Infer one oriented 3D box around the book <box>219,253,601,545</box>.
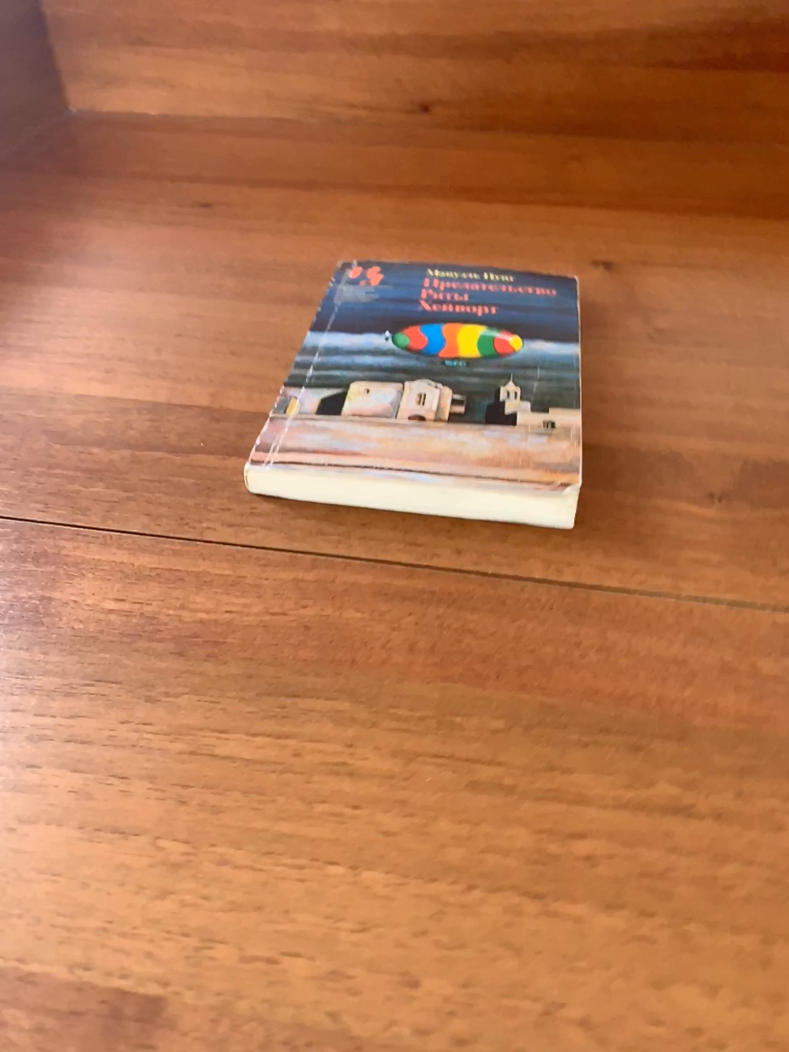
[{"bbox_3d":[0.015,-0.060,0.319,0.121,0.016,0.159,7,43,6],"label":"book"}]
